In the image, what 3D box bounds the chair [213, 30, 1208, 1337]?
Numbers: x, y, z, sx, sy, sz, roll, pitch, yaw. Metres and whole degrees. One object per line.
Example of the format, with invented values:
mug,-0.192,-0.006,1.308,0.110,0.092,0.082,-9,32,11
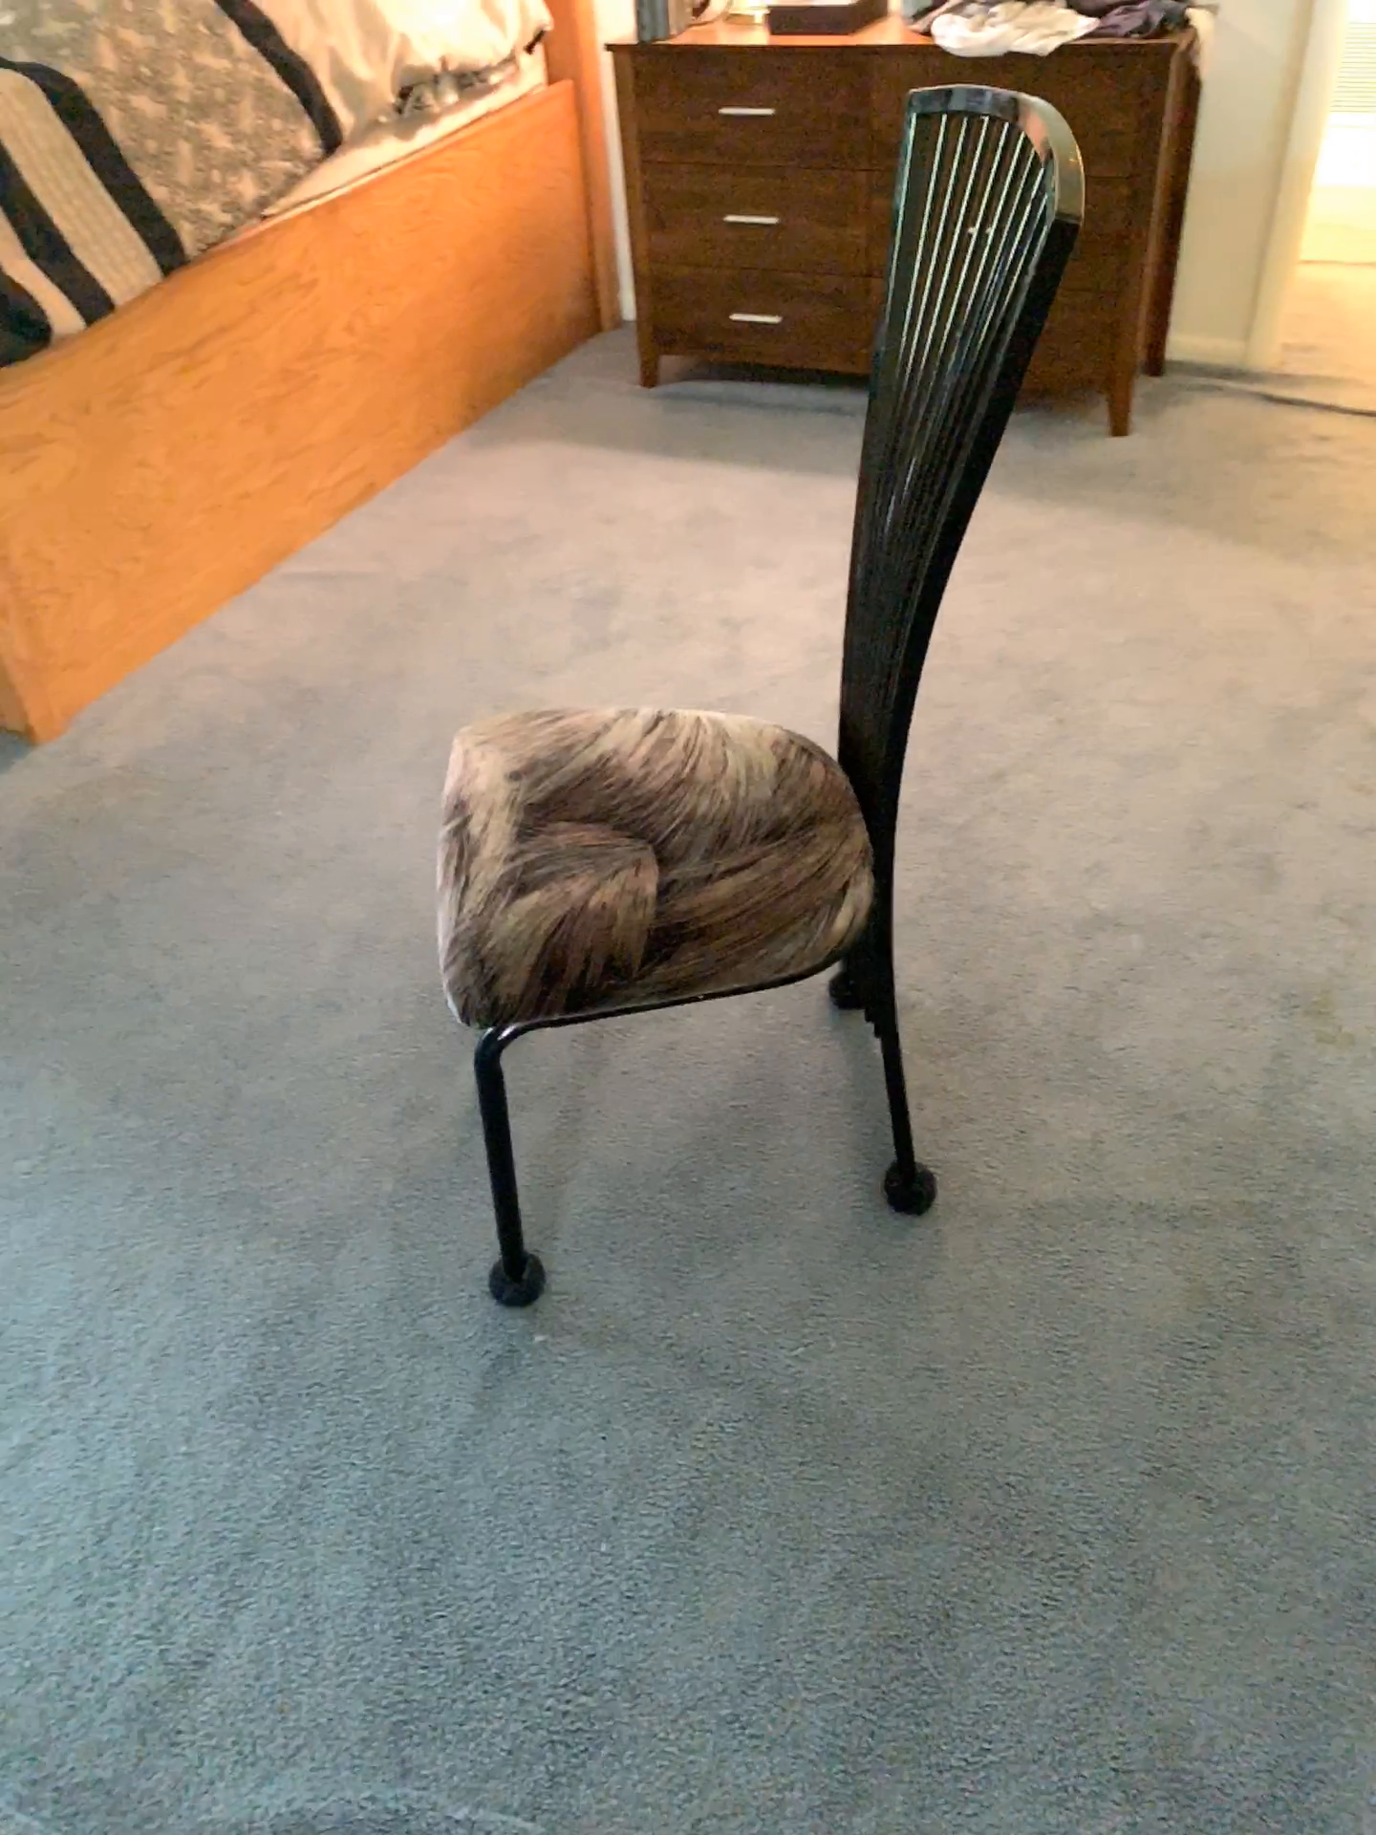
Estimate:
chair,0.014,-0.163,1.262,0.540,0.974,0.513,-8,40,-4
